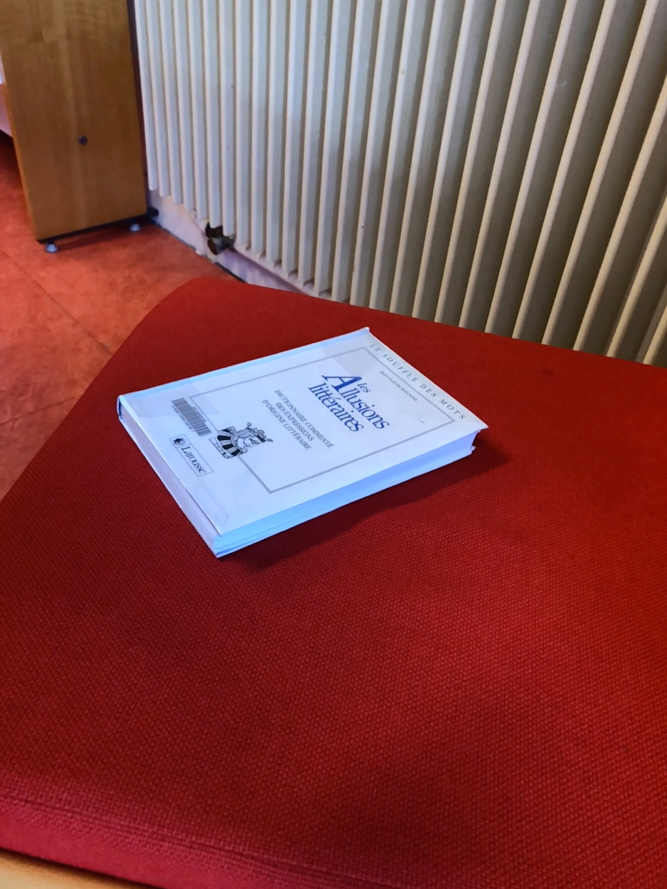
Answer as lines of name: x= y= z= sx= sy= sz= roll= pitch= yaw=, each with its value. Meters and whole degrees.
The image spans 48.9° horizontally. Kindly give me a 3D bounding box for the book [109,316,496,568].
book: x=-0.021 y=-0.017 z=0.510 sx=0.218 sy=0.030 sz=0.150 roll=-21 pitch=47 yaw=-29
